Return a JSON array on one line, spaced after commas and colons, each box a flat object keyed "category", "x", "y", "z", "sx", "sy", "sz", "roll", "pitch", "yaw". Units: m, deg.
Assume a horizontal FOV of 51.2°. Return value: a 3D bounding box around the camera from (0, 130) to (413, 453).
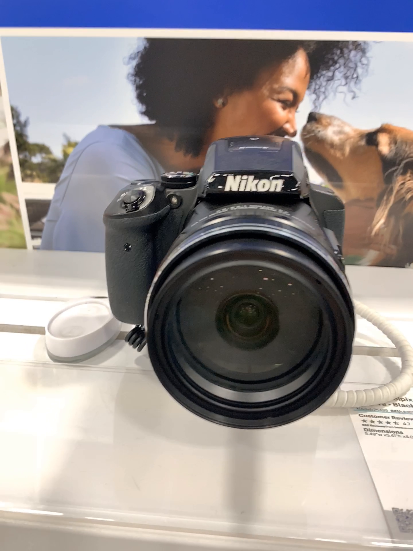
[{"category": "camera", "x": 0.013, "y": -0.015, "z": 0.211, "sx": 0.140, "sy": 0.100, "sz": 0.153, "roll": 4, "pitch": 18, "yaw": 4}]
